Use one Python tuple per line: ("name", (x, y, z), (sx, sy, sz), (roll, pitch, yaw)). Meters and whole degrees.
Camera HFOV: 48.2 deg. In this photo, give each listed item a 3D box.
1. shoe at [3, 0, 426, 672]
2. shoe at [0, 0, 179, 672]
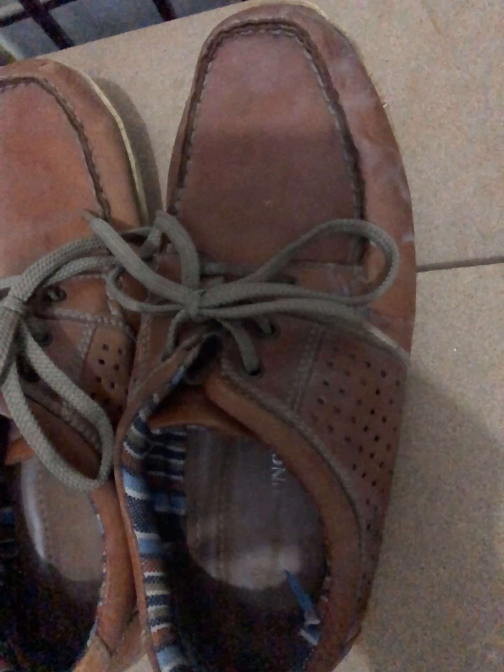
("shoe", (0.000, -0.009, 0.205), (0.100, 0.100, 0.280), (-4, 79, 24))
("shoe", (-0.110, -0.002, 0.248), (0.100, 0.100, 0.287), (-10, 78, 23))
